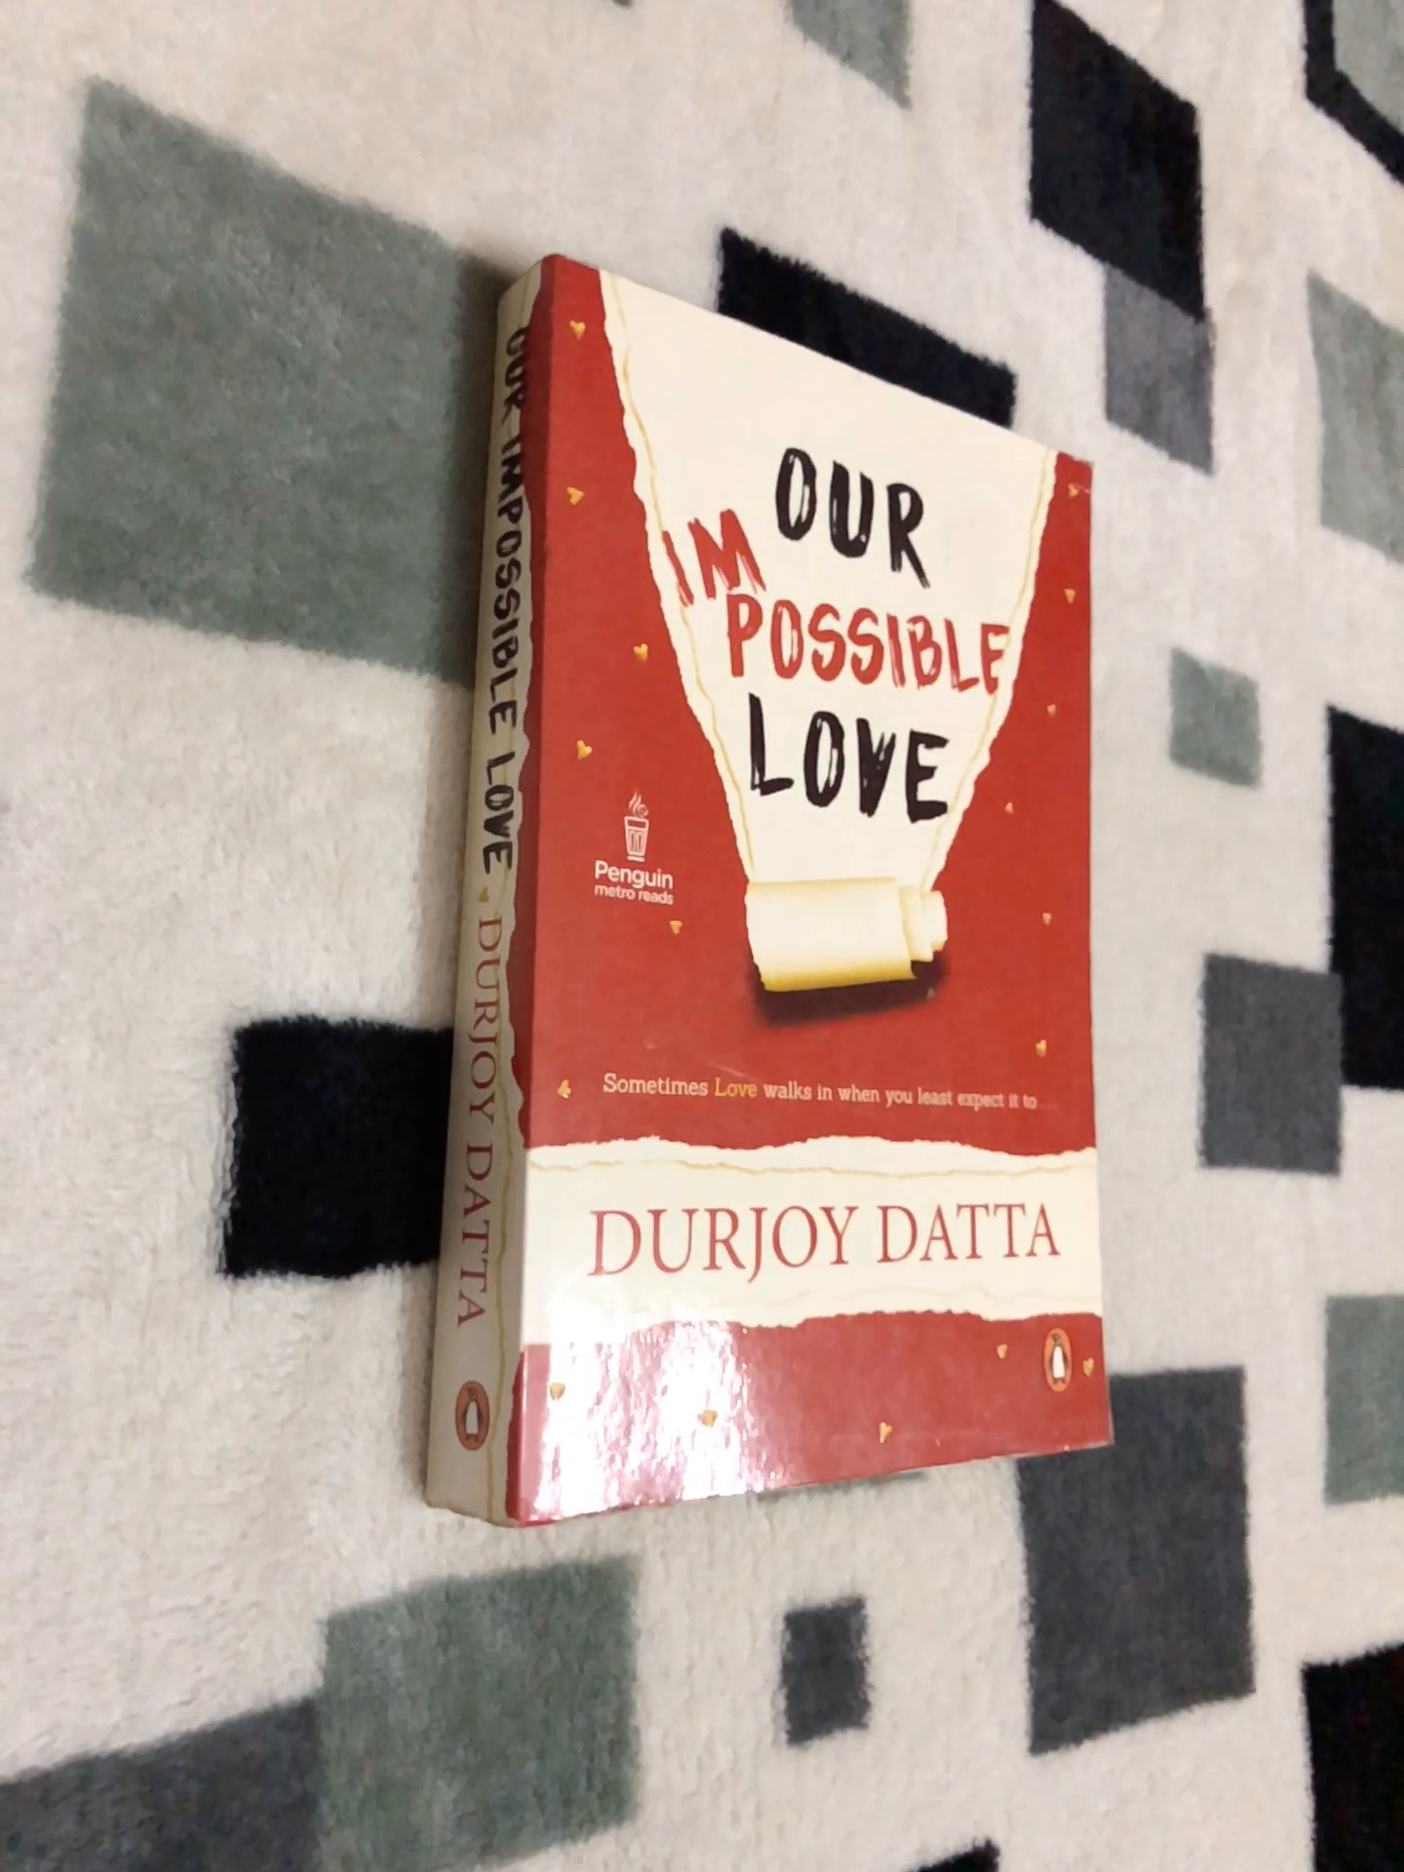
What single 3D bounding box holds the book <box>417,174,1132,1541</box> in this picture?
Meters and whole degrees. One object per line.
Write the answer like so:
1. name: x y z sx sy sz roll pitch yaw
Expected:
1. book: 0.021 -0.009 0.278 0.131 0.030 0.200 7 83 -37
